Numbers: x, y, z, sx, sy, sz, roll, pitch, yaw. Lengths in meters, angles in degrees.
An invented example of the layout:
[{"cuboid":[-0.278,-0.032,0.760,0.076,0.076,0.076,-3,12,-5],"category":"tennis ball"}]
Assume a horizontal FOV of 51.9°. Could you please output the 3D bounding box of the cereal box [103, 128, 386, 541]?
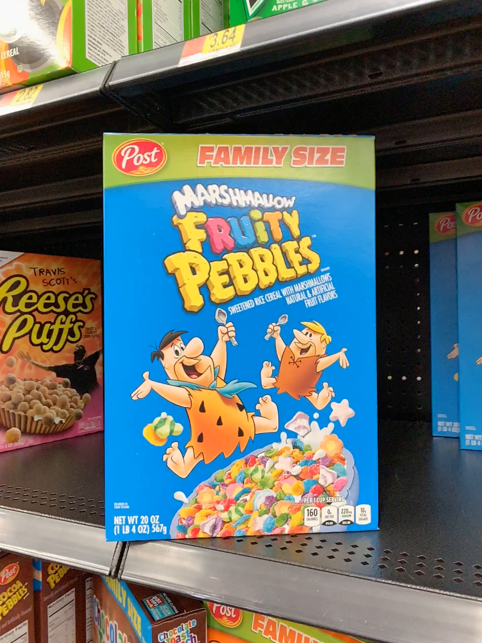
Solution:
[{"cuboid":[0.003,0.009,0.440,0.230,0.330,0.070,0,0,-4],"category":"cereal box"}]
